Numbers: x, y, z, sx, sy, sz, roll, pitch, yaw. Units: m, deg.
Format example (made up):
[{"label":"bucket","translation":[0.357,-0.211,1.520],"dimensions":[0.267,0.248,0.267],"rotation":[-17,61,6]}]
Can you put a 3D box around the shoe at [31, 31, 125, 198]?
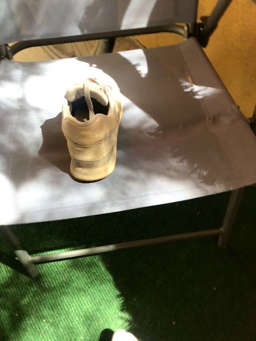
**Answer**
[{"label":"shoe","translation":[-0.074,-0.107,0.501],"dimensions":[0.124,0.104,0.288],"rotation":[-3,62,2]}]
